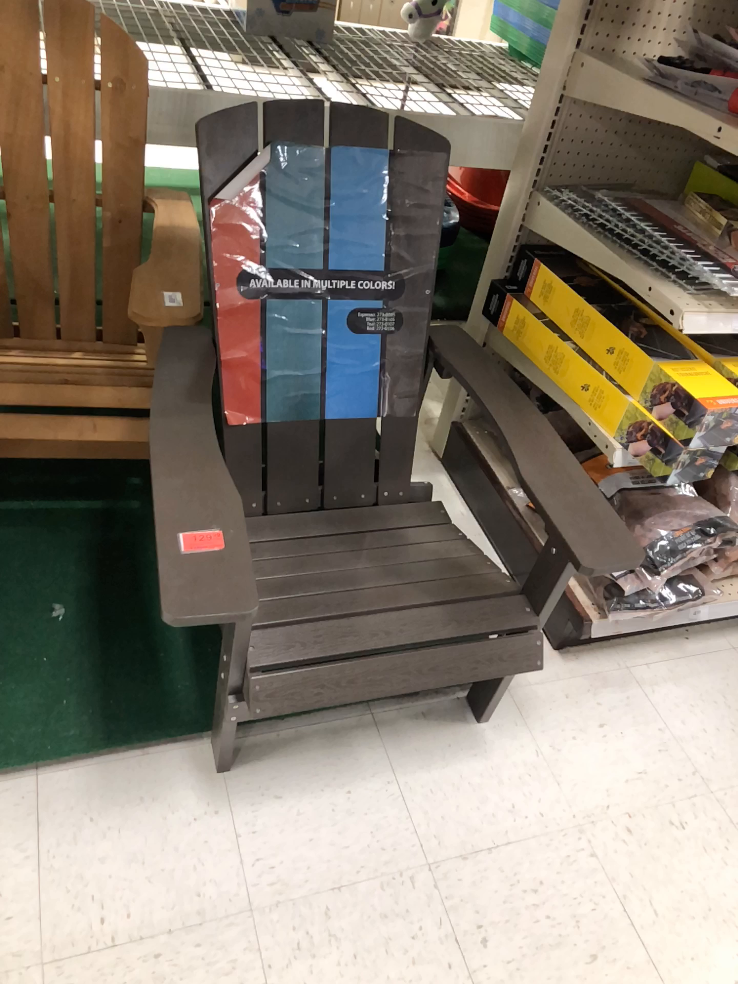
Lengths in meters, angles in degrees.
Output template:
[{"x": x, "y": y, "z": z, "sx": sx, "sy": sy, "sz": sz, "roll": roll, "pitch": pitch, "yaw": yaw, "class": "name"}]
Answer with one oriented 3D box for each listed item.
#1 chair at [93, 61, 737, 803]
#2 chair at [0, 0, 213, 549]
[{"x": -0.064, "y": -0.151, "z": 1.439, "sx": 0.718, "sy": 0.816, "sz": 0.918, "roll": -5, "pitch": 43, "yaw": -20, "class": "chair"}, {"x": -0.713, "y": -0.533, "z": 1.728, "sx": 0.638, "sy": 0.846, "sz": 0.979, "roll": 0, "pitch": 41, "yaw": -16, "class": "chair"}]
